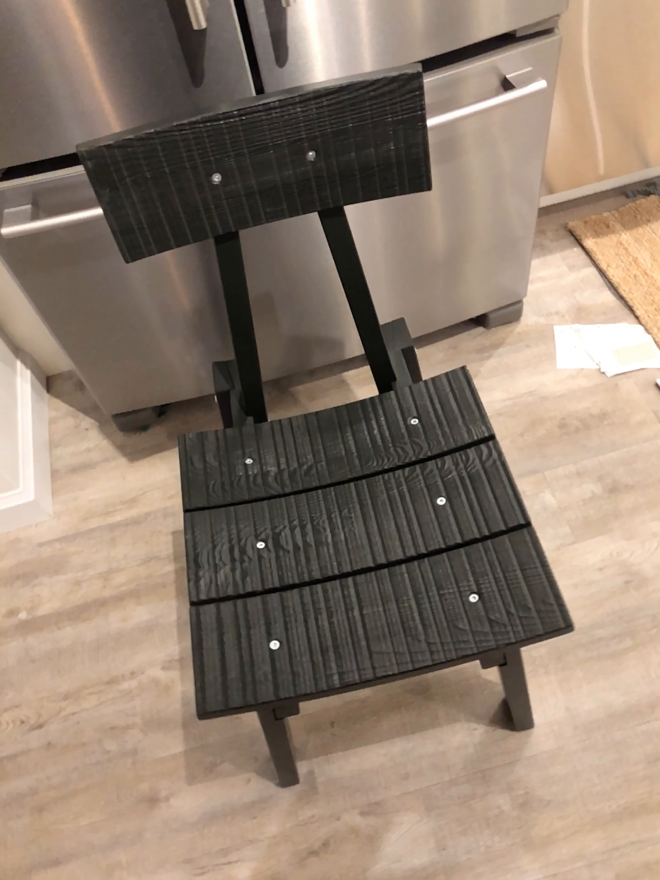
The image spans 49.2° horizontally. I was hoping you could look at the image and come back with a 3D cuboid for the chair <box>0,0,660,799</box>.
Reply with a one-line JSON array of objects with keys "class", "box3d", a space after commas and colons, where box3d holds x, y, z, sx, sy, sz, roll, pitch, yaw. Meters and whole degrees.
[{"class": "chair", "box3d": [0.008, 0.057, 0.873, 0.520, 0.796, 0.513, -13, 57, 1]}]
